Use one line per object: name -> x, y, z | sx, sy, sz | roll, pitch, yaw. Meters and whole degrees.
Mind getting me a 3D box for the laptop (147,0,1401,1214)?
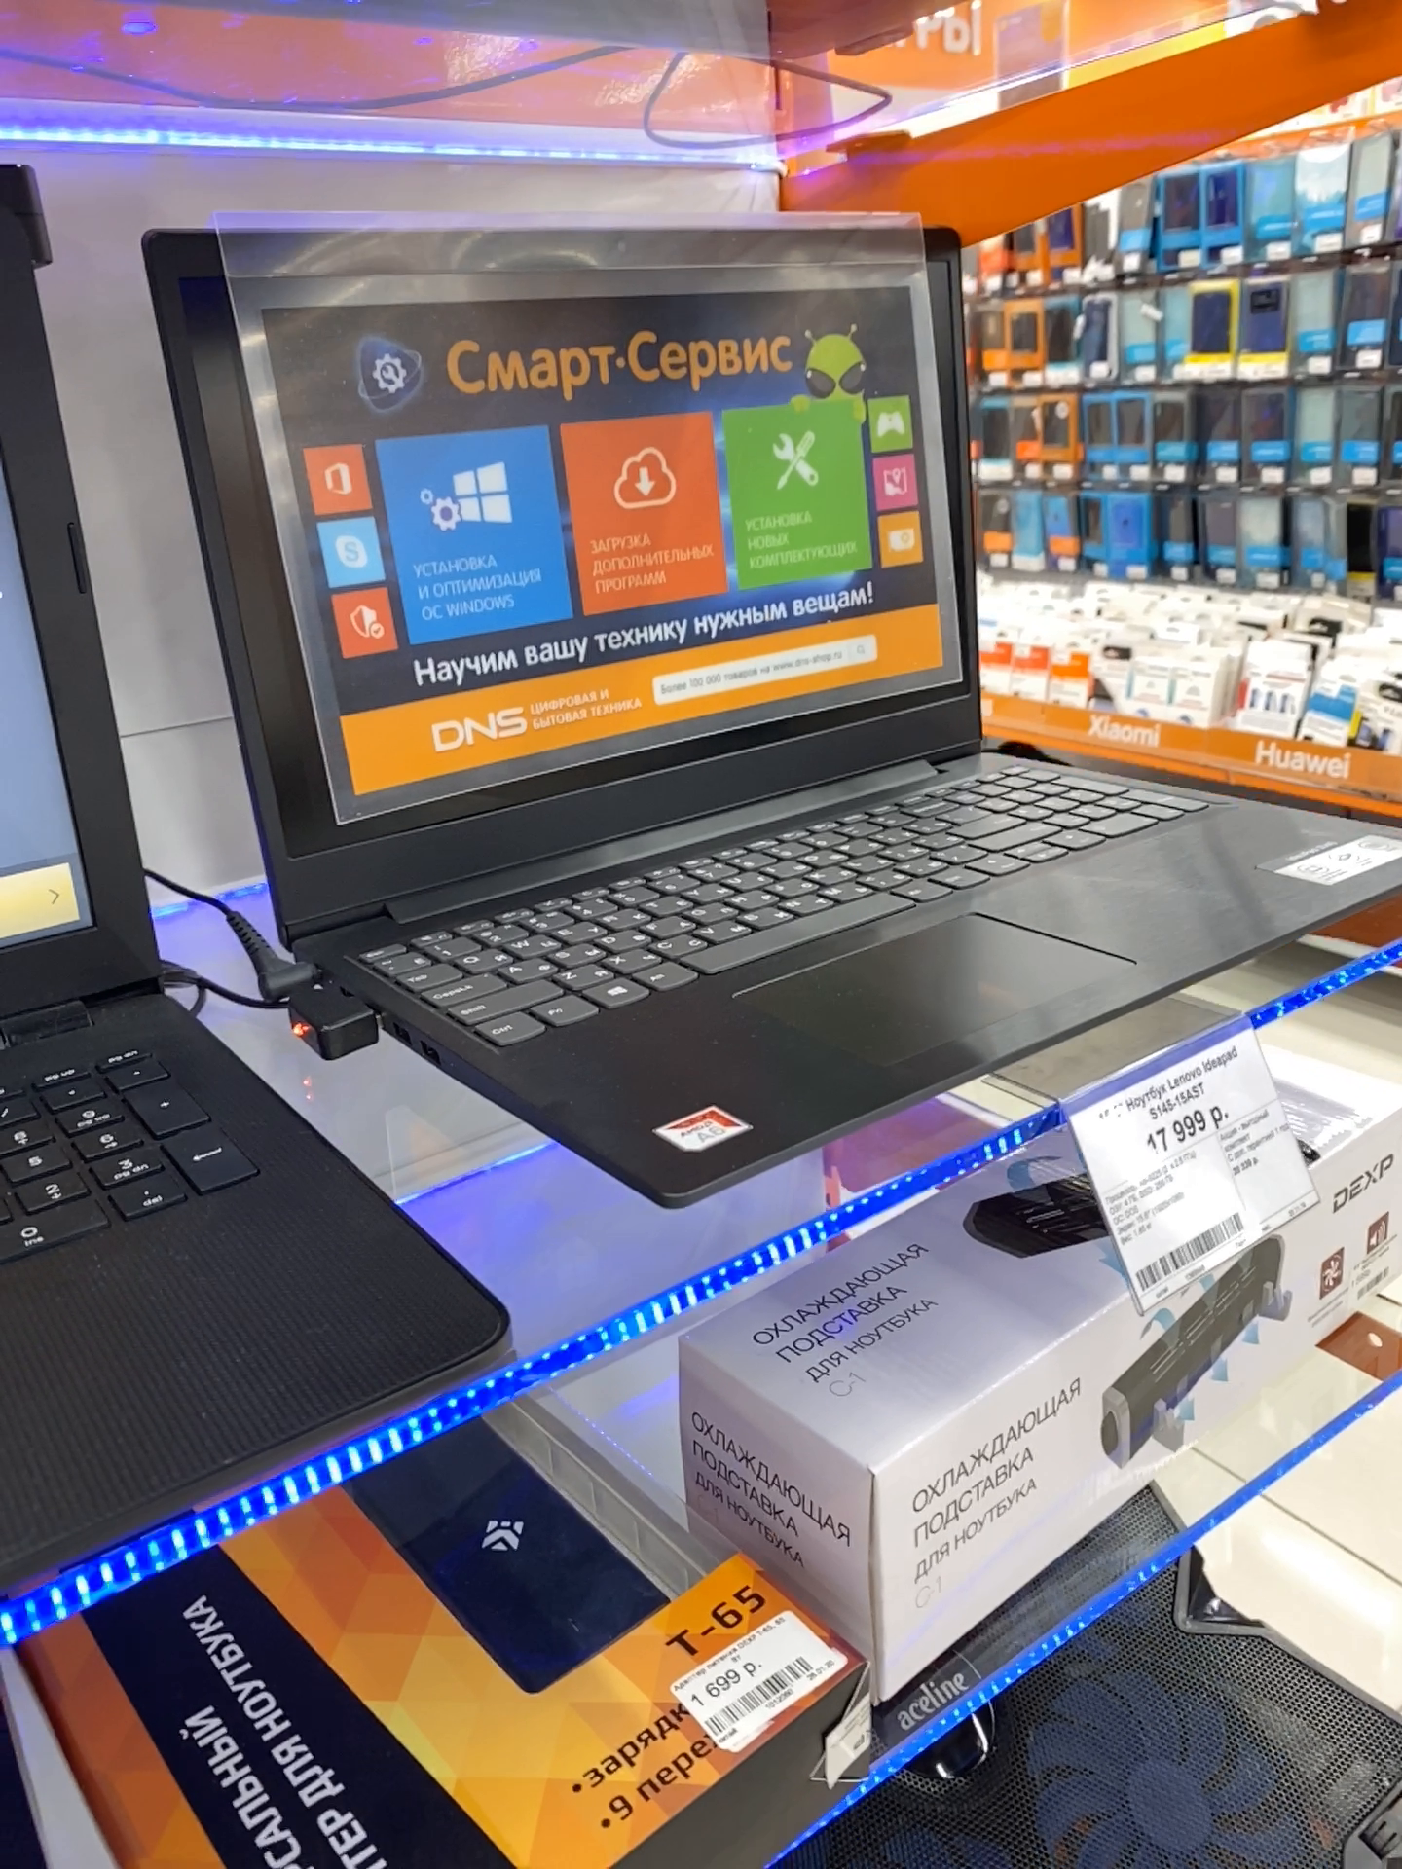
laptop -> 0.056, -0.127, 0.479 | 0.357, 0.236, 0.266 | -17, 24, -33
